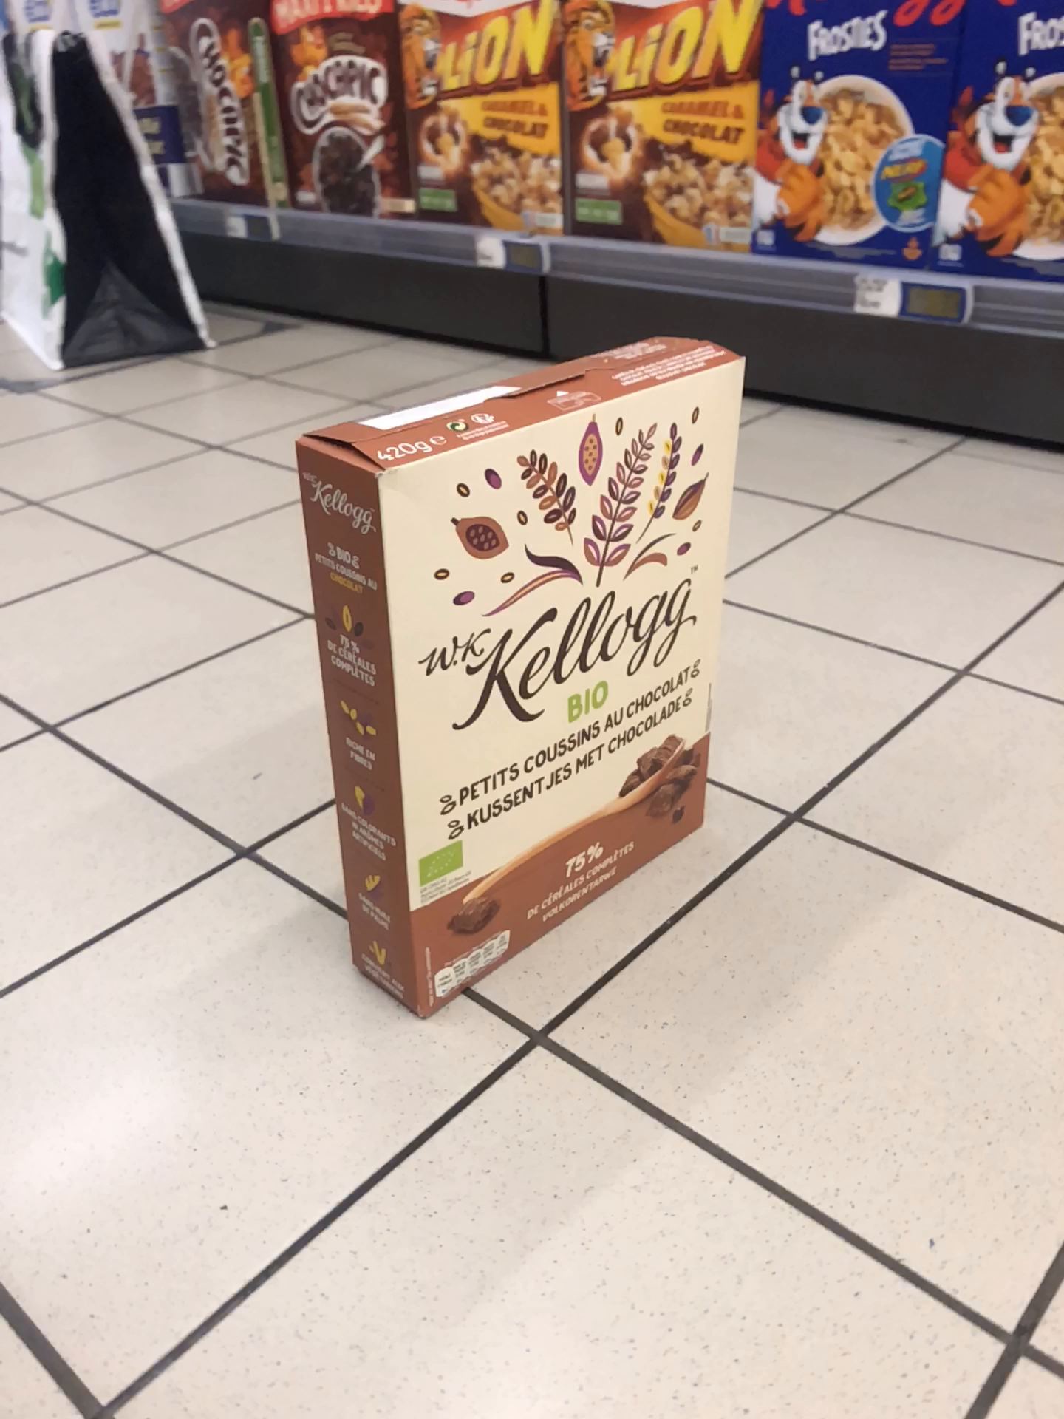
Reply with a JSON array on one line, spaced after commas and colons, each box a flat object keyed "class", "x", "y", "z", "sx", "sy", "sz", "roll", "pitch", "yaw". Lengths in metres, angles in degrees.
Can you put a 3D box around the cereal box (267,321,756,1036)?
[{"class": "cereal box", "x": 0.002, "y": -0.017, "z": 0.499, "sx": 0.201, "sy": 0.248, "sz": 0.050, "roll": -26, "pitch": 40, "yaw": -36}]
